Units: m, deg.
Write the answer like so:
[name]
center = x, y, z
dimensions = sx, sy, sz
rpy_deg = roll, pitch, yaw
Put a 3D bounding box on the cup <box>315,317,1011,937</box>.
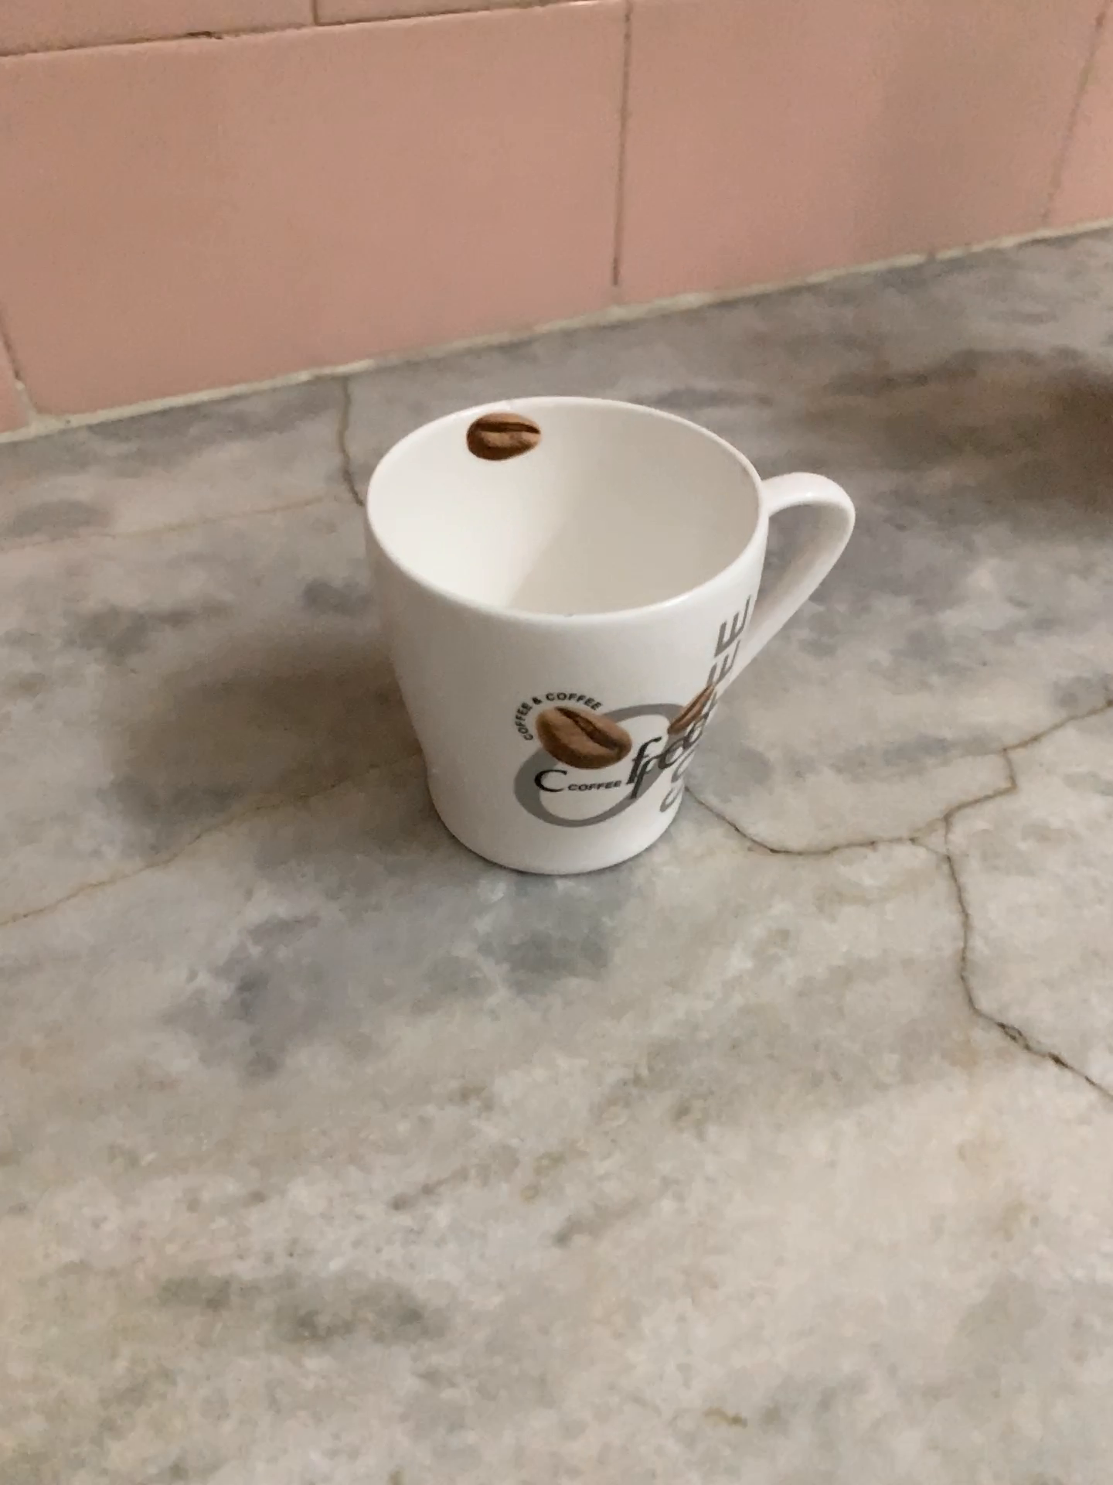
[cup]
center = 0.016, -0.027, 0.227
dimensions = 0.100, 0.070, 0.070
rpy_deg = -19, 47, -20
